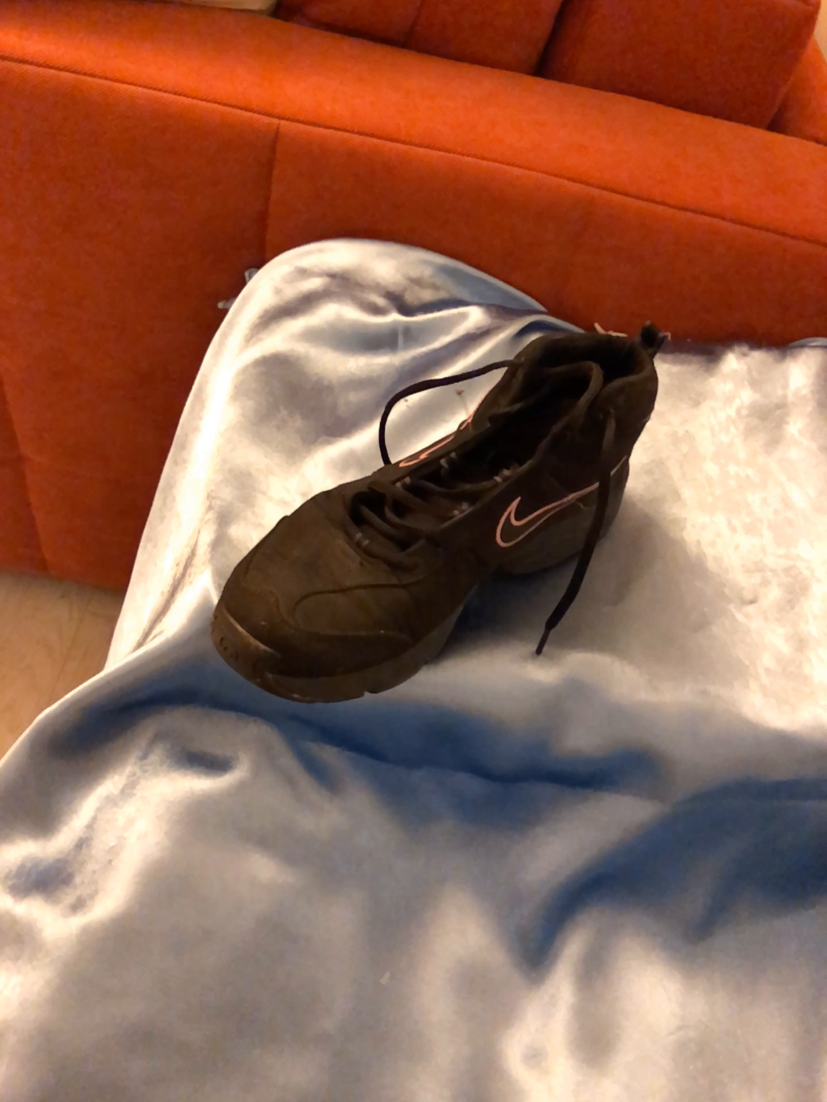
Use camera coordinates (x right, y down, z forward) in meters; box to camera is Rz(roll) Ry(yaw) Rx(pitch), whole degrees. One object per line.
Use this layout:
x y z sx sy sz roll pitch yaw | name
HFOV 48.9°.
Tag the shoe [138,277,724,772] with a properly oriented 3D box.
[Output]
0.014 -0.026 0.445 0.261 0.099 0.107 -30 64 -30 | shoe
